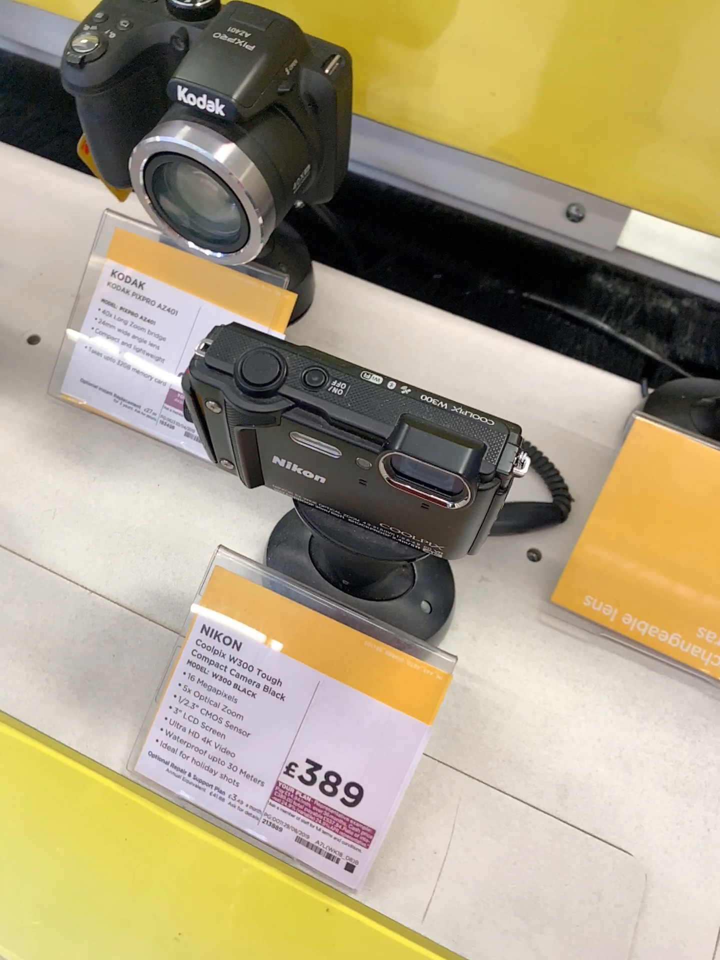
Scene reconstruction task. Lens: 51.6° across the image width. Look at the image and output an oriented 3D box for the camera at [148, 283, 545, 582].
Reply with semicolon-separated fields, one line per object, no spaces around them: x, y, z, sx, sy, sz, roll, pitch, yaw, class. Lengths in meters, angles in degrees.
-0.006;-0.014;0.258;0.120;0.070;0.030;23;64;9;camera
